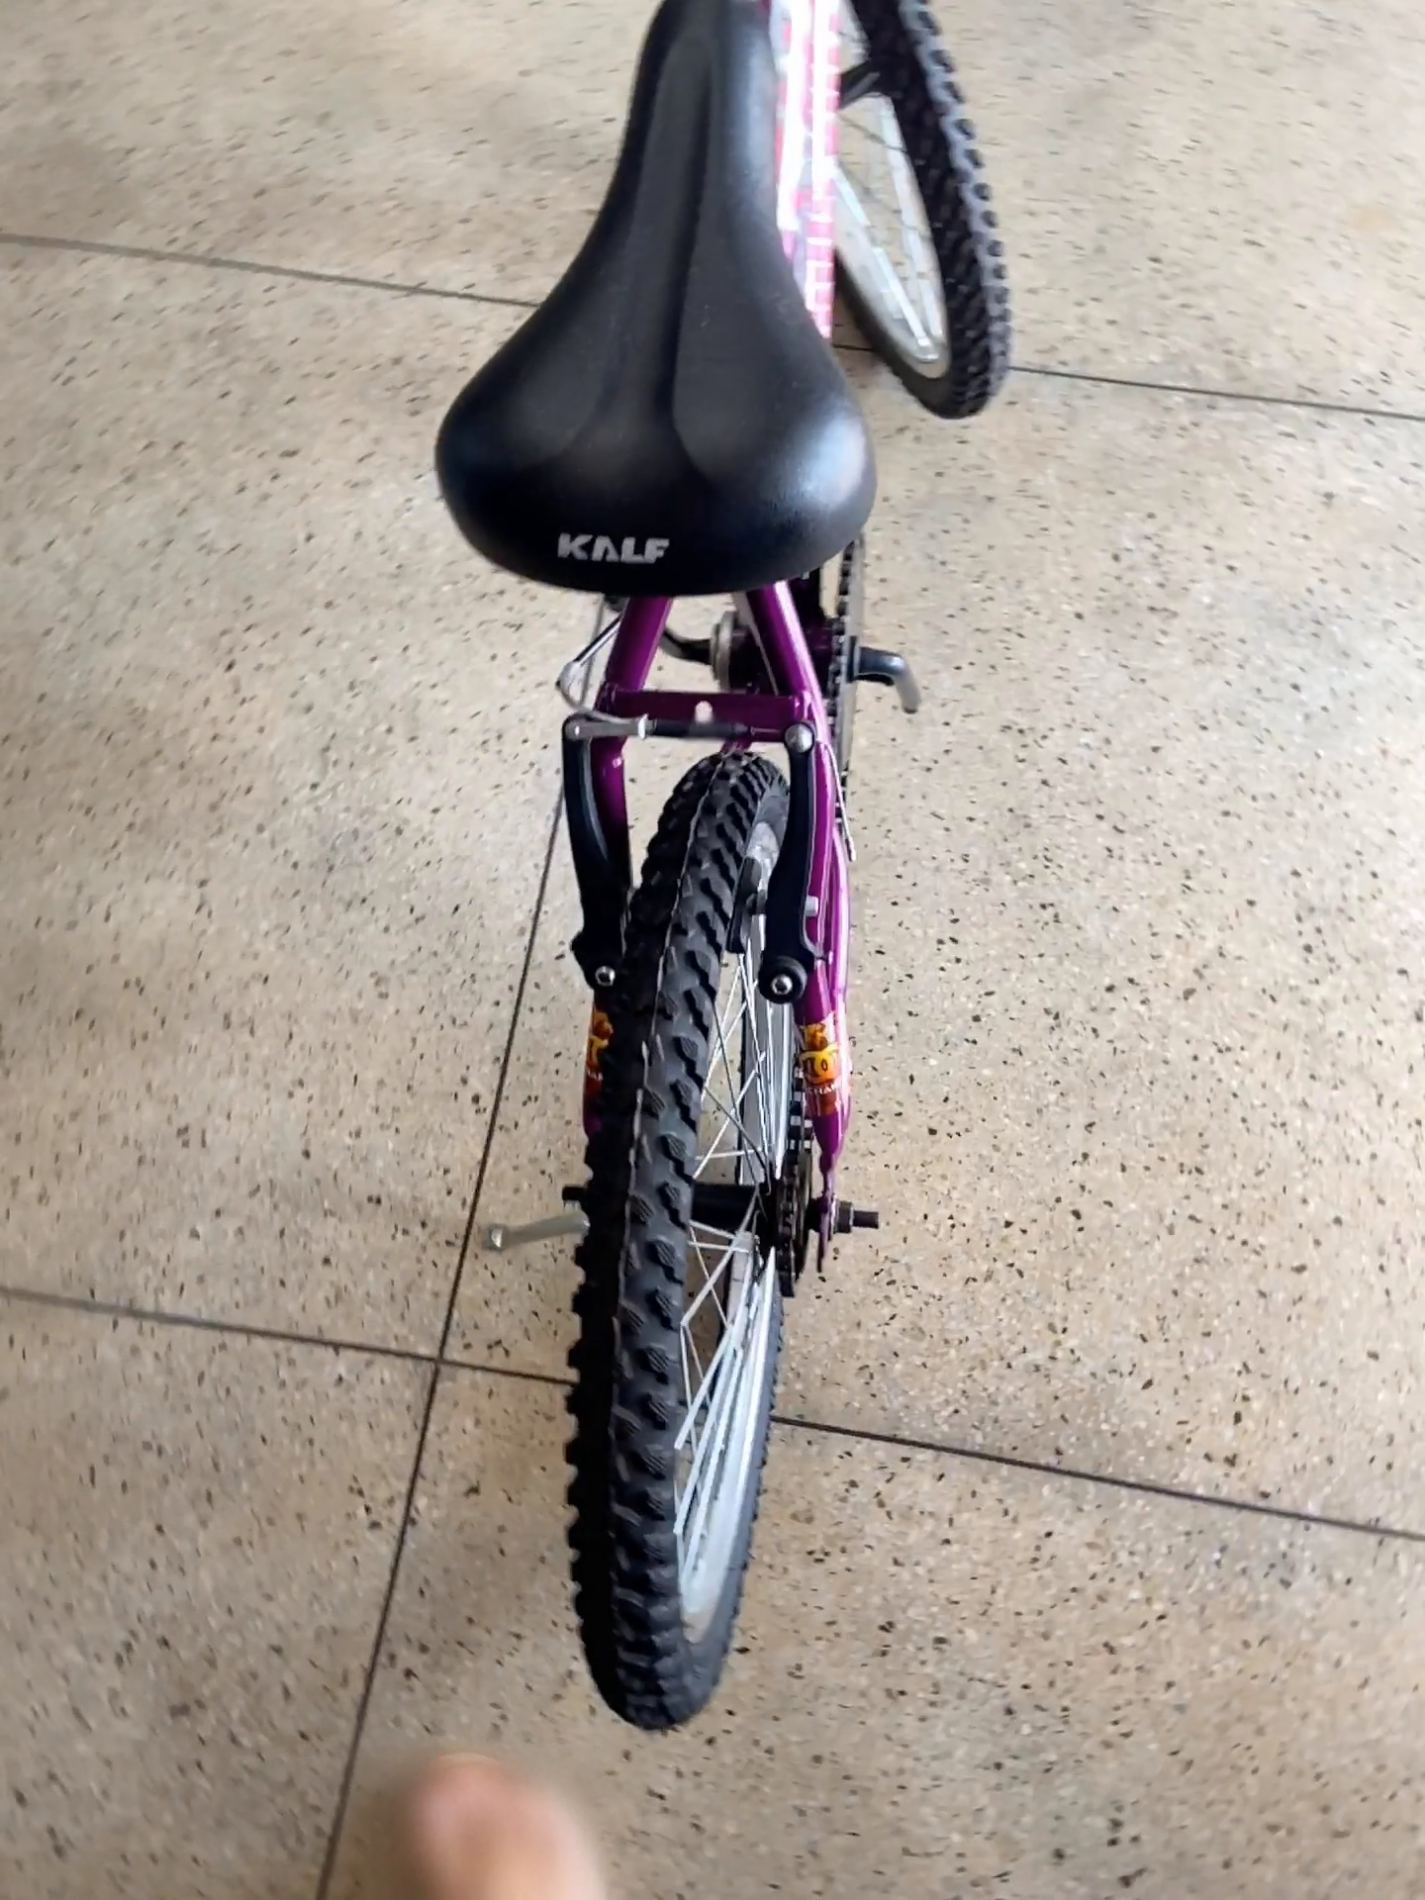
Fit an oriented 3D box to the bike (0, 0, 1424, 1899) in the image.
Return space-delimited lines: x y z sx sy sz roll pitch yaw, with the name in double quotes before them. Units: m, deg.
"bike" -0.032 -0.289 0.746 0.615 0.937 1.264 1 69 1
